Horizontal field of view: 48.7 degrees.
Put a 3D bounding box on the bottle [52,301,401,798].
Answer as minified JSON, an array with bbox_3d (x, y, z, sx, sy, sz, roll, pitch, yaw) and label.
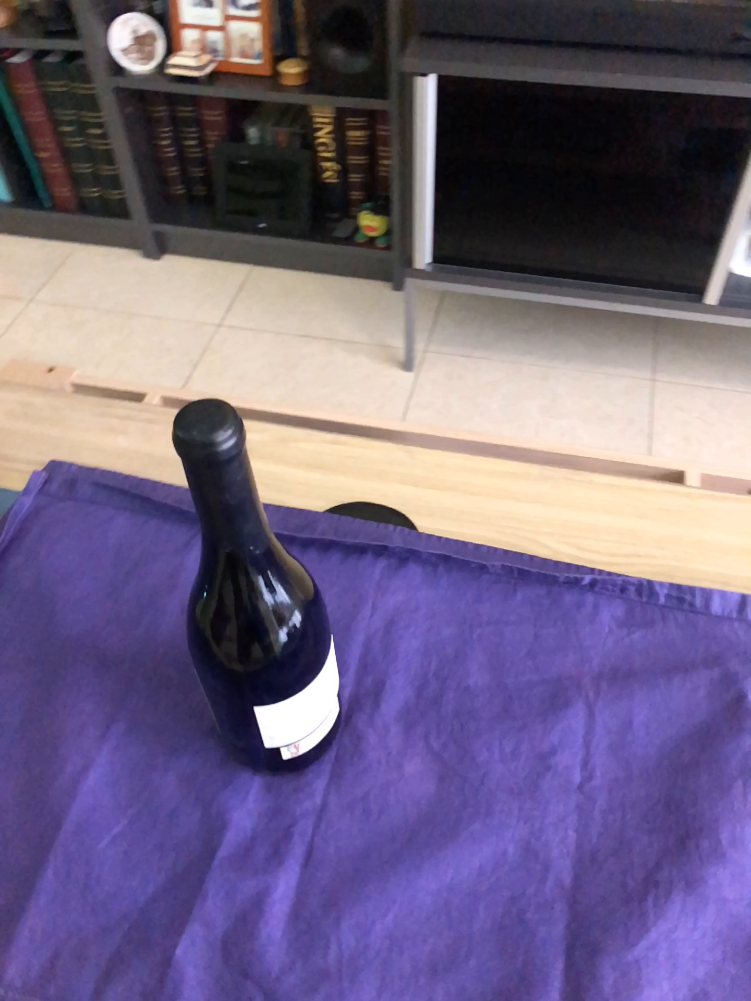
[{"bbox_3d":[-0.062,0.042,0.461,0.110,0.259,0.100,-1,49,2],"label":"bottle"}]
